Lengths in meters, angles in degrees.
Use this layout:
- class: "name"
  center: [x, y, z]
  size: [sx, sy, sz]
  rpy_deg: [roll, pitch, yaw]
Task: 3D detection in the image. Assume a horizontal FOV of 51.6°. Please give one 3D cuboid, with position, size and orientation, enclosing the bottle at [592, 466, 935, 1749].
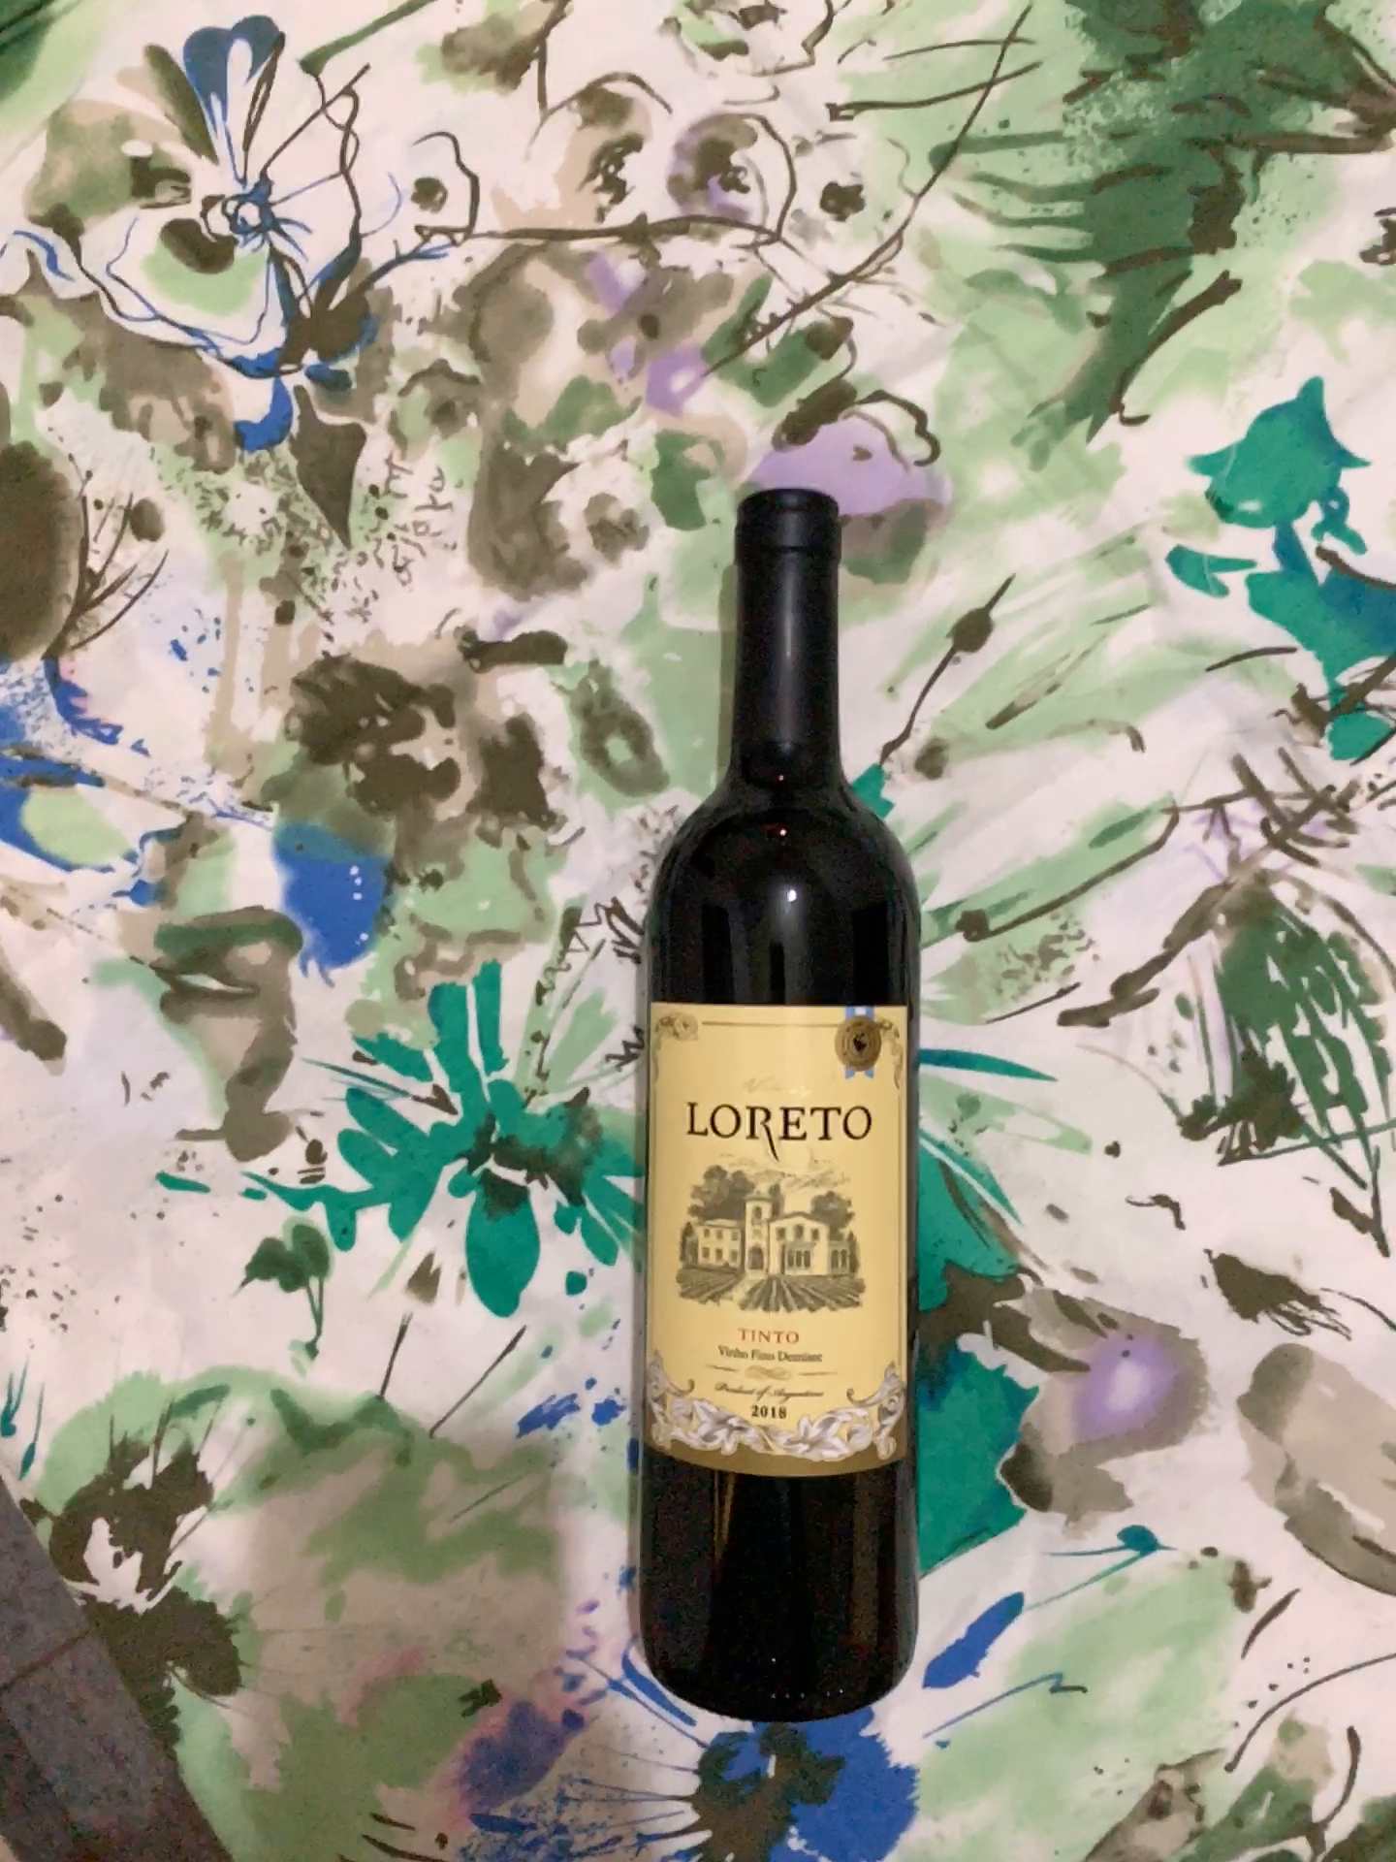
- class: "bottle"
  center: [0.017, 0.042, 0.376]
  size: [0.080, 0.050, 0.310]
  rpy_deg: [1, 90, 3]
